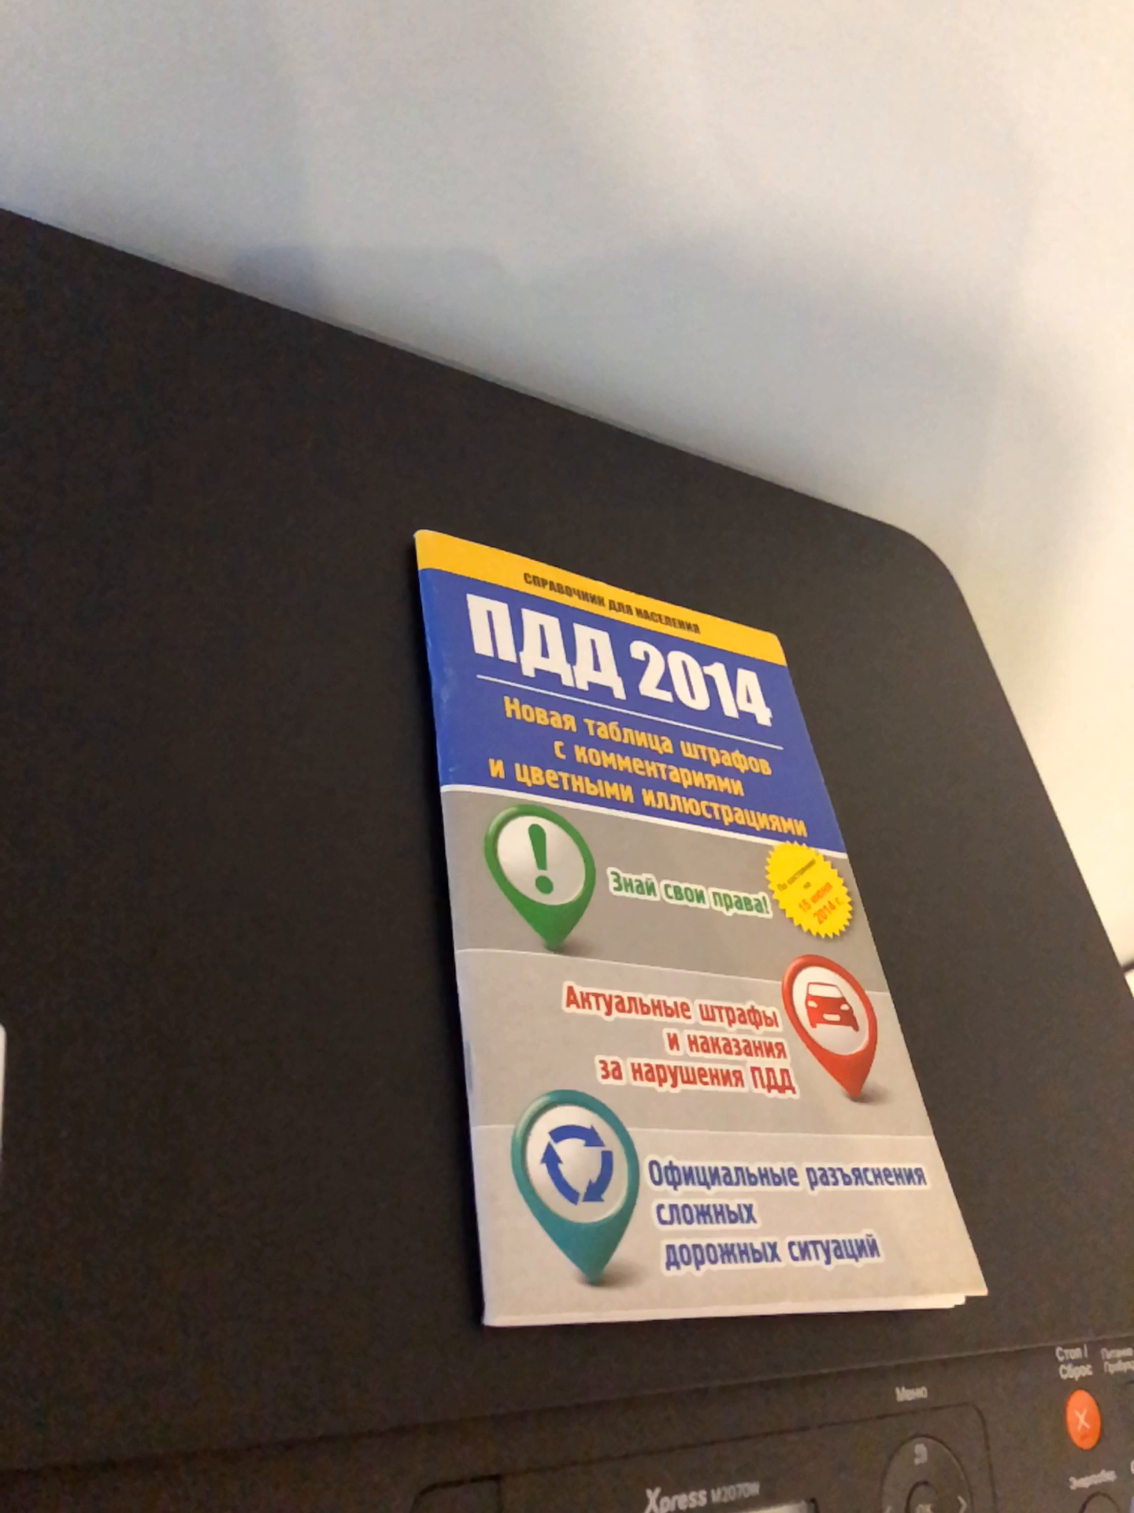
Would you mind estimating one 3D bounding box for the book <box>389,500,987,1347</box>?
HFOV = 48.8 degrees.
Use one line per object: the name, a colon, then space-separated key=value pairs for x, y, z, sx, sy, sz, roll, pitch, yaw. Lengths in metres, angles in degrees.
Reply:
book: x=0.024 y=0.031 z=0.308 sx=0.130 sy=0.010 sz=0.201 roll=12 pitch=52 yaw=-30
